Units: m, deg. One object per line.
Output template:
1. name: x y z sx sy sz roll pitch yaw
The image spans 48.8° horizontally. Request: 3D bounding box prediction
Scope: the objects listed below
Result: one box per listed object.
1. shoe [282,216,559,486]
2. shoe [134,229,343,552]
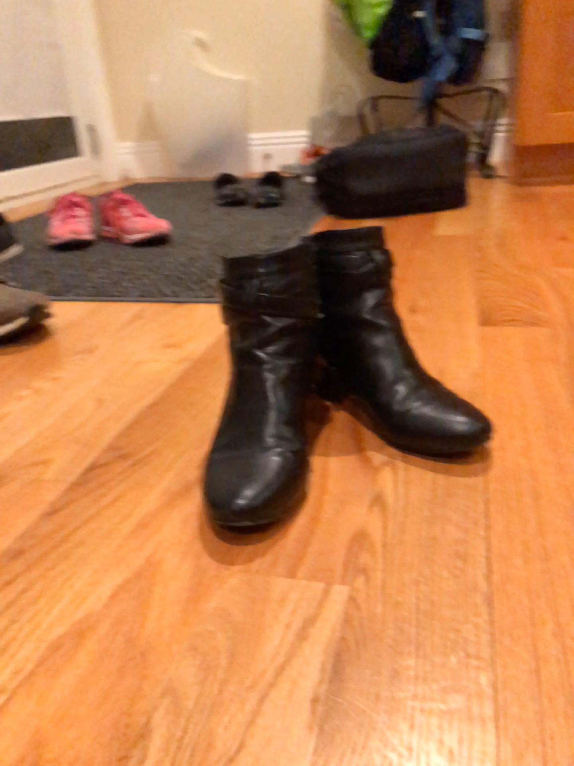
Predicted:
1. shoe: 0.104 -0.045 0.564 0.090 0.172 0.227 -20 27 -31
2. shoe: -0.018 -0.012 0.503 0.090 0.172 0.227 1 24 13
